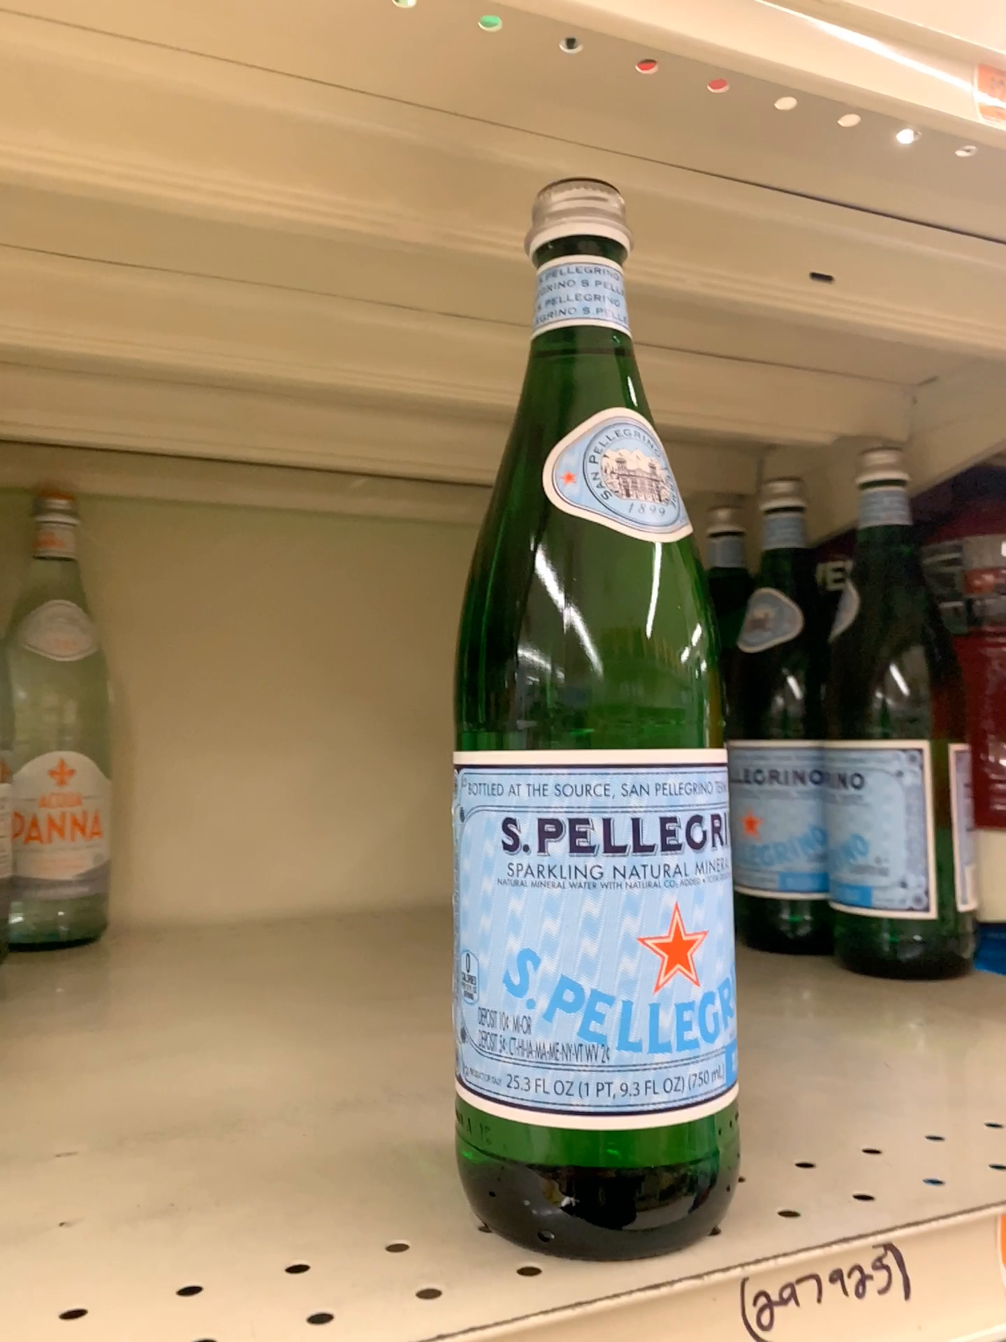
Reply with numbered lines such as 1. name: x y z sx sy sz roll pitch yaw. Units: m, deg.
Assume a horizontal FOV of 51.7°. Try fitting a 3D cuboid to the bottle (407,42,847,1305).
1. bottle: 0.029 -0.002 0.296 0.090 0.290 0.090 0 -3 0
